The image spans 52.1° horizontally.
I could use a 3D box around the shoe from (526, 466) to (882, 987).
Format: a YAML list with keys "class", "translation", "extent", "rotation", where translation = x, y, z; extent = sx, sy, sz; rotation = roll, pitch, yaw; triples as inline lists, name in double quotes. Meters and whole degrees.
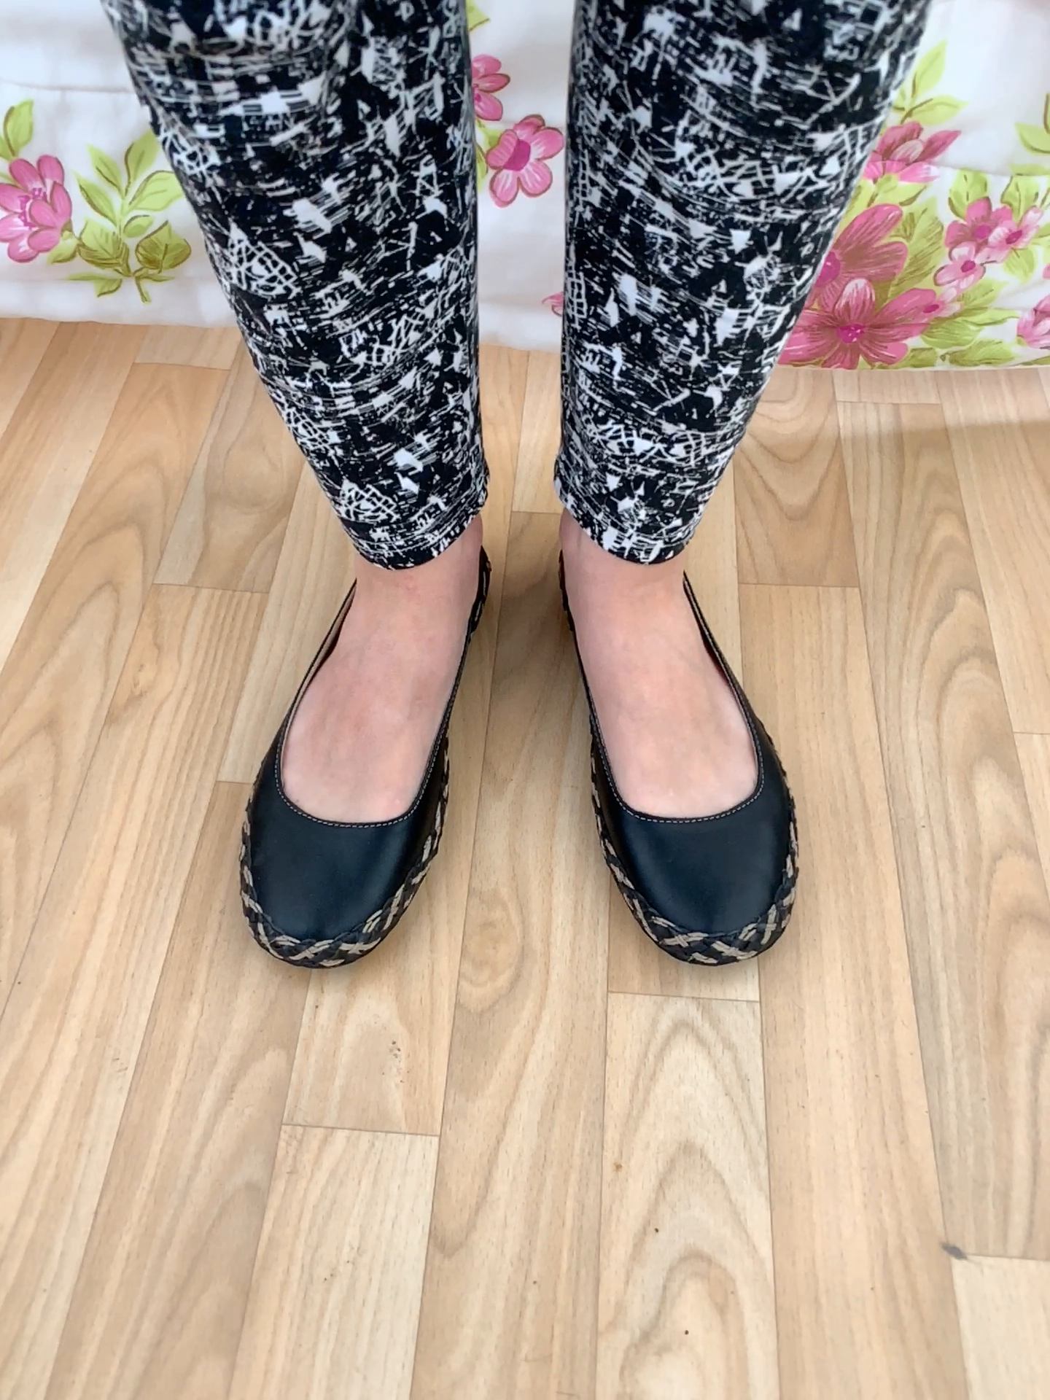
- class: "shoe"
  translation: [0.074, 0.001, 0.527]
  extent: [0.100, 0.060, 0.251]
  rotation: [-10, 56, -5]

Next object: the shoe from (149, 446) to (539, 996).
- class: "shoe"
  translation: [-0.073, -0.003, 0.533]
  extent: [0.100, 0.070, 0.266]
  rotation: [11, 57, 9]
